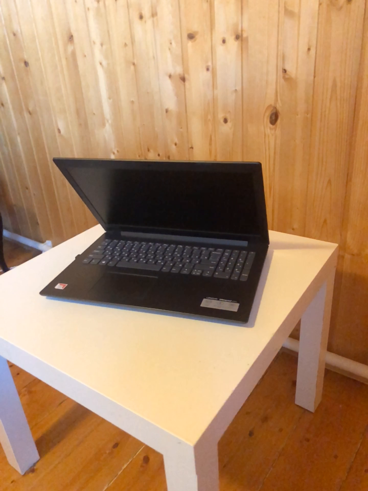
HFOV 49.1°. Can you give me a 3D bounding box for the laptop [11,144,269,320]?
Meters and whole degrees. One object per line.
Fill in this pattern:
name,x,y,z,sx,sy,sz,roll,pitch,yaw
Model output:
laptop,-0.053,-0.051,0.731,0.372,0.206,0.251,5,28,19
